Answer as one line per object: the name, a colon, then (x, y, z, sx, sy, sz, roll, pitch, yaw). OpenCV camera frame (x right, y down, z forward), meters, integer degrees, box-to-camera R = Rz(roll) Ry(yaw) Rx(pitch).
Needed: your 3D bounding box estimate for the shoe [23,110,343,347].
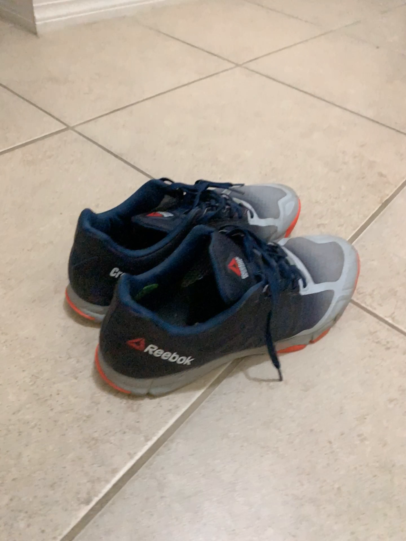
shoe: (-0.007, -0.061, 0.447, 0.306, 0.121, 0.104, -26, 54, -29)

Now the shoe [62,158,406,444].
shoe: (0.051, 0.012, 0.391, 0.315, 0.133, 0.109, -19, 51, -25)
